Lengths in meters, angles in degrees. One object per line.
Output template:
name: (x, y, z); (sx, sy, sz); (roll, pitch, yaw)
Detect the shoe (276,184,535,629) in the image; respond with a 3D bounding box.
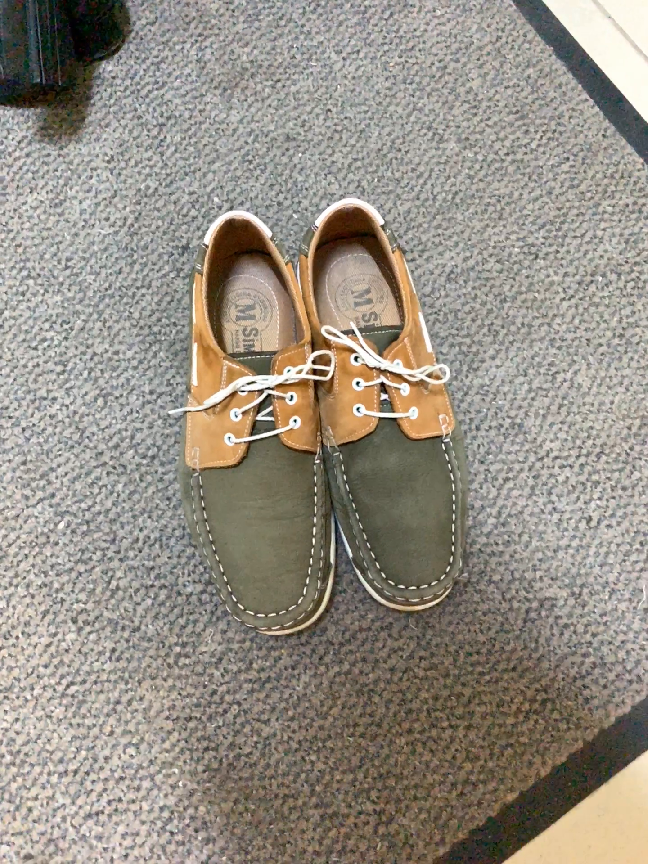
shoe: (0.041, -0.012, 0.468); (0.107, 0.130, 0.270); (-9, 76, -5)

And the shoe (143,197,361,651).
shoe: (-0.050, -0.001, 0.456); (0.107, 0.130, 0.270); (-5, 75, -4)
